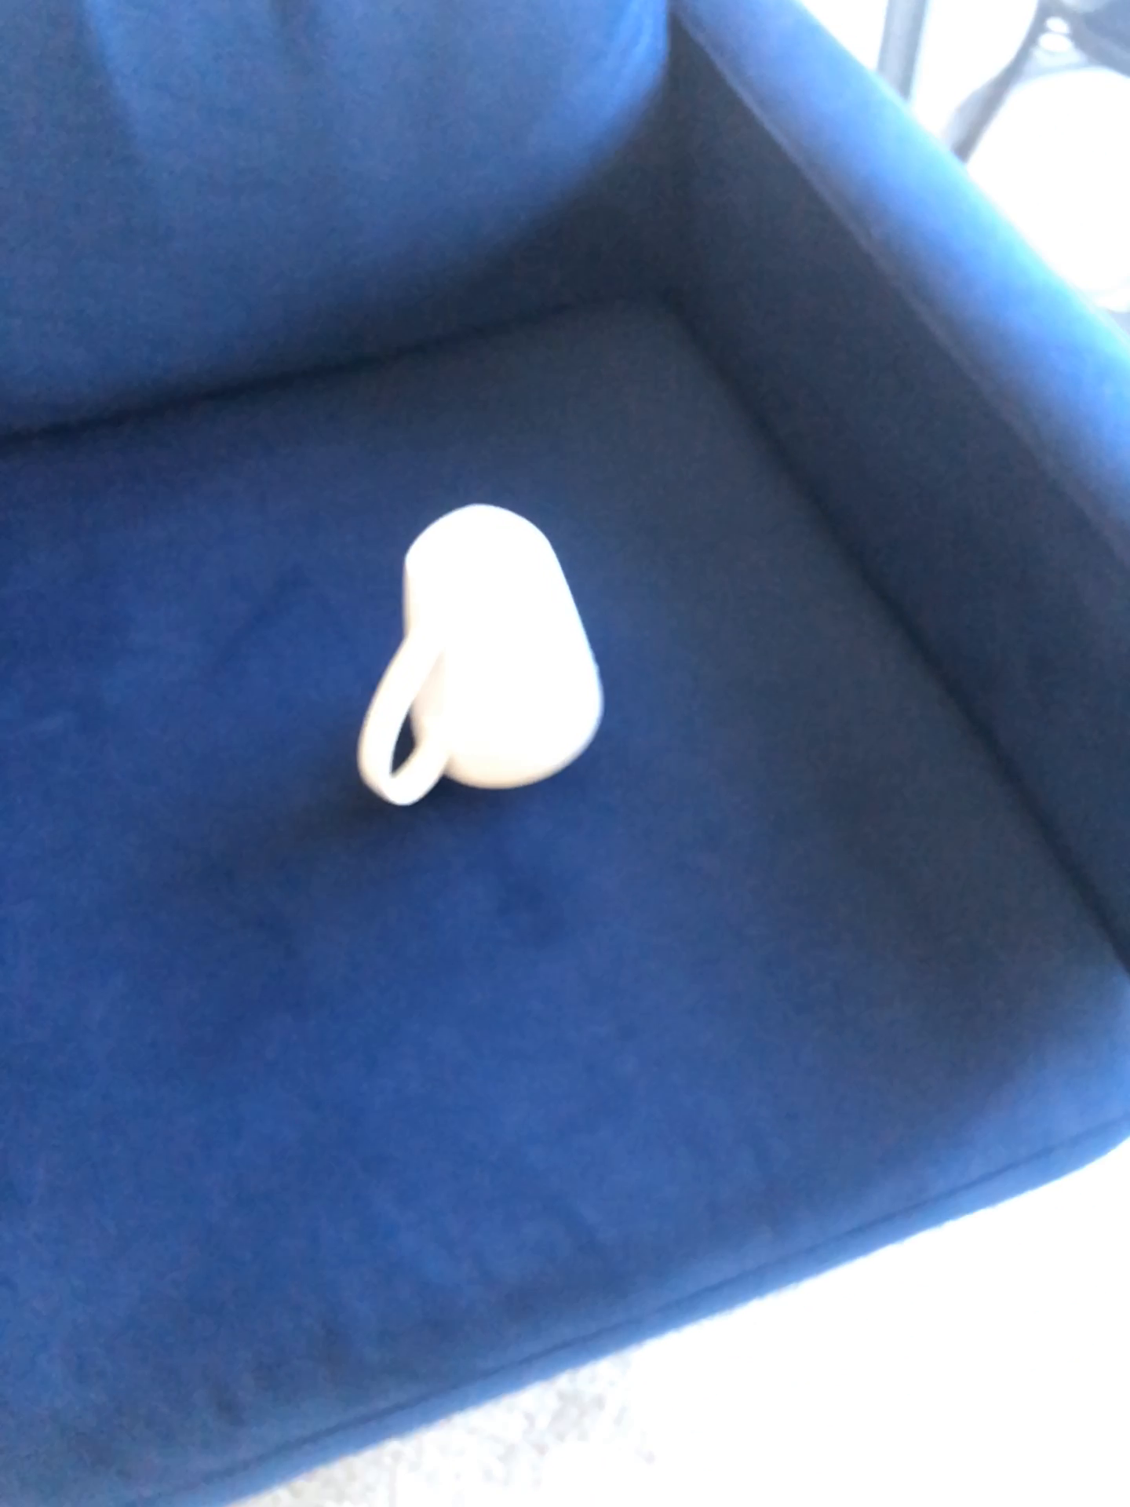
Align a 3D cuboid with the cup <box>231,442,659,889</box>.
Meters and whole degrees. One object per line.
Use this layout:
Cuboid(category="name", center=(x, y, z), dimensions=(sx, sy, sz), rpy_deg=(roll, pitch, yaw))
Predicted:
Cuboid(category="cup", center=(-0.047, -0.043, 0.577), dimensions=(0.110, 0.090, 0.150), rpy_deg=(31, 62, 22))
